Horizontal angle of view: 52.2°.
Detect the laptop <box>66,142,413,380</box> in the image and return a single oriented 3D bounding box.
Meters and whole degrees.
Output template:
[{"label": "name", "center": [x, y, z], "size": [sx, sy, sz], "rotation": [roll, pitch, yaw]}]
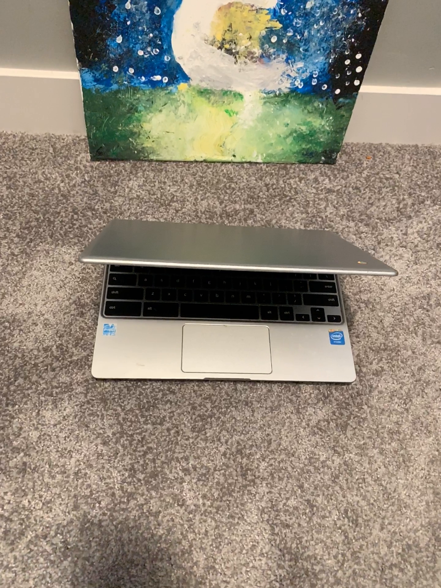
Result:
[{"label": "laptop", "center": [0.013, -0.028, 0.488], "size": [0.294, 0.144, 0.200], "rotation": [2, 61, -6]}]
